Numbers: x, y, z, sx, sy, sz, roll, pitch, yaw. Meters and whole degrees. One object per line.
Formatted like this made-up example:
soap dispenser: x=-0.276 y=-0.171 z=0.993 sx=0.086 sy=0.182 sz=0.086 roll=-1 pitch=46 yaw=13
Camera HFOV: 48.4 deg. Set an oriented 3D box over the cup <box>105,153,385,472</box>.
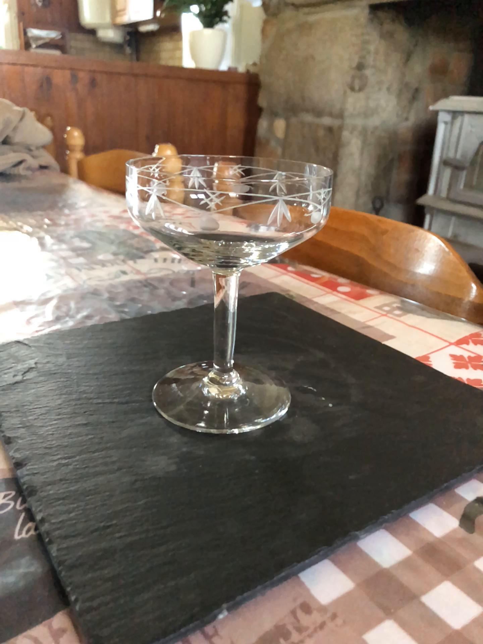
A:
cup: x=-0.002 y=-0.016 z=0.265 sx=0.090 sy=0.119 sz=0.090 roll=3 pitch=21 yaw=-1
